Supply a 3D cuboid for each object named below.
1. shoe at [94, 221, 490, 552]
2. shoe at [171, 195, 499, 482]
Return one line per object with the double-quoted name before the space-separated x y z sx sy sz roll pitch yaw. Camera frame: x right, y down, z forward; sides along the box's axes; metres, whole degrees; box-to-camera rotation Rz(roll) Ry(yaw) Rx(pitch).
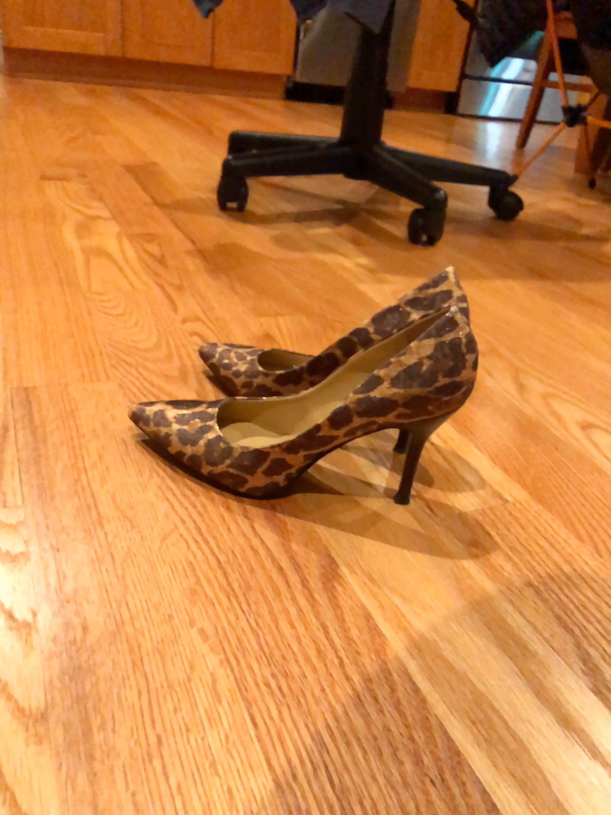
"shoe" -0.012 -0.019 0.429 0.218 0.144 0.084 13 28 12
"shoe" 0.012 -0.061 0.513 0.219 0.144 0.084 20 30 23
